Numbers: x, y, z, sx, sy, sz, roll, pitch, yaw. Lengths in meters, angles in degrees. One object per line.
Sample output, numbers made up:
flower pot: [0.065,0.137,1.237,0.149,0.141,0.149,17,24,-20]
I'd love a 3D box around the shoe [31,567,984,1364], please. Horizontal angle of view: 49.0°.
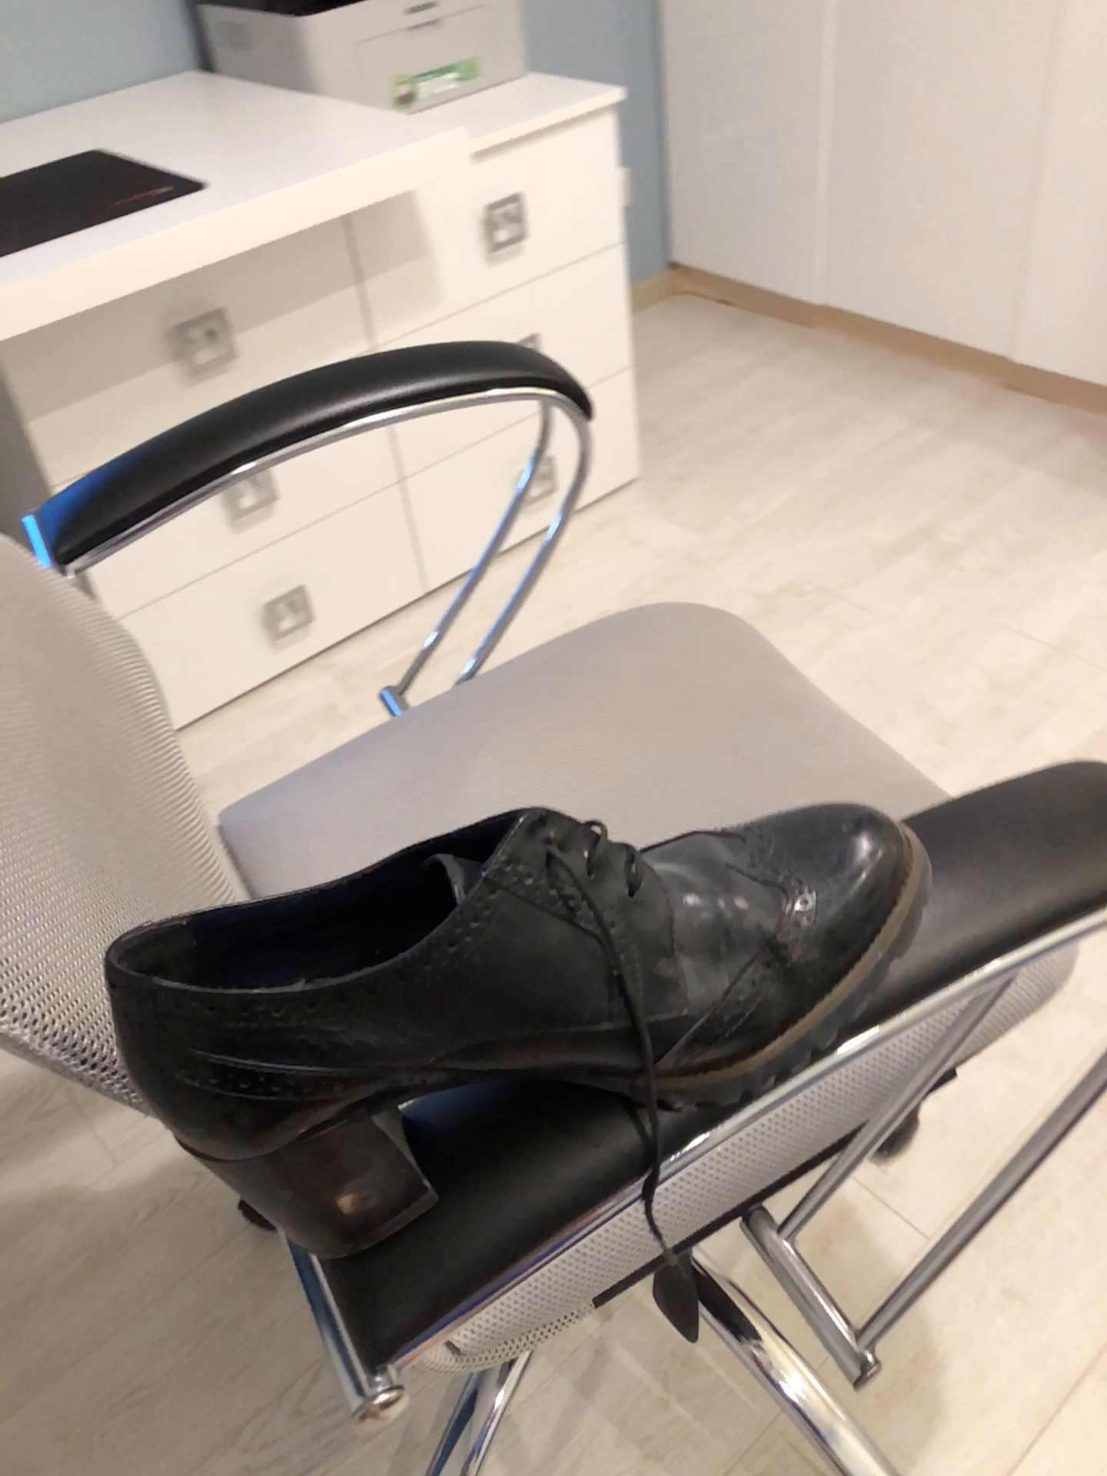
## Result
shoe: [-0.009,0.067,0.372,0.250,0.119,0.101,-23,42,-5]
